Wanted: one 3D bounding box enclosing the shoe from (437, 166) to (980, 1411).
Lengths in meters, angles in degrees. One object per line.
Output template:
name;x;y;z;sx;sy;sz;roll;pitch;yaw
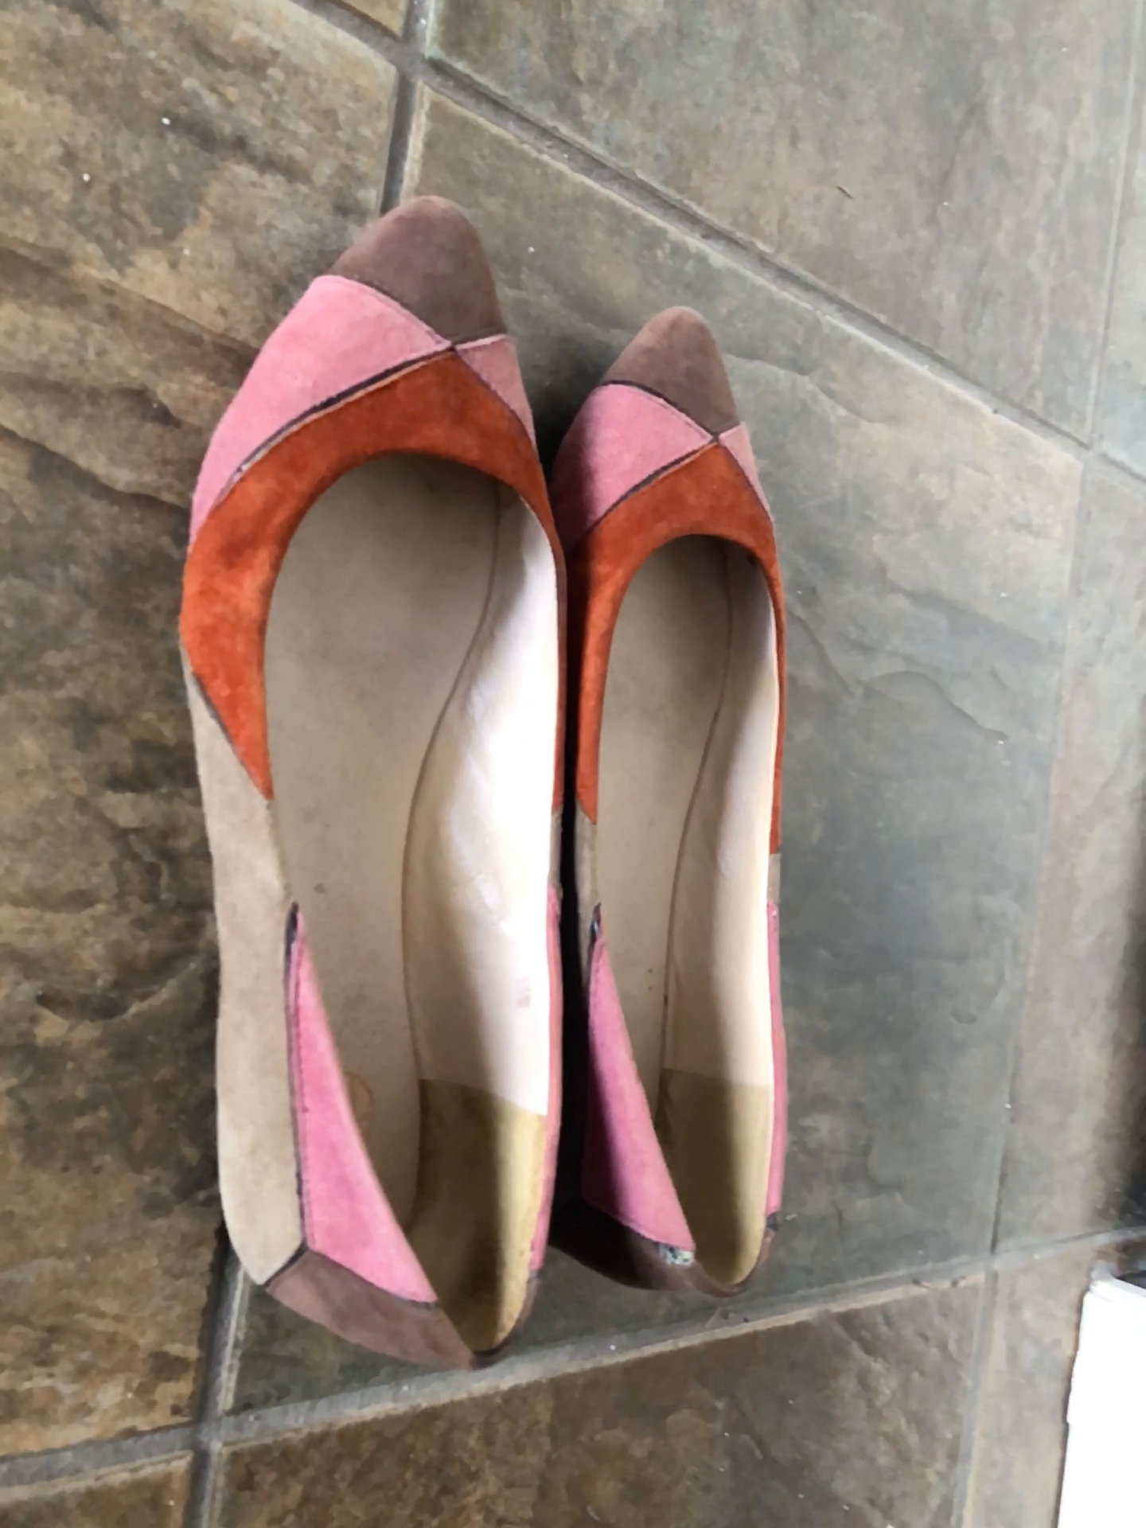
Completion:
shoe;0.036;0.006;0.326;0.090;0.070;0.270;7;89;-40

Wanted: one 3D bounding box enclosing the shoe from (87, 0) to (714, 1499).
shoe;-0.038;-0.004;0.277;0.090;0.070;0.270;5;90;-40
